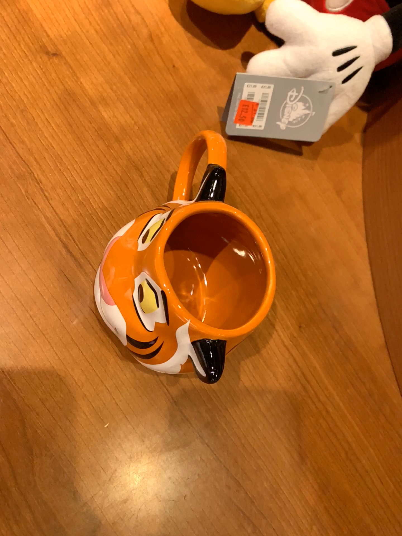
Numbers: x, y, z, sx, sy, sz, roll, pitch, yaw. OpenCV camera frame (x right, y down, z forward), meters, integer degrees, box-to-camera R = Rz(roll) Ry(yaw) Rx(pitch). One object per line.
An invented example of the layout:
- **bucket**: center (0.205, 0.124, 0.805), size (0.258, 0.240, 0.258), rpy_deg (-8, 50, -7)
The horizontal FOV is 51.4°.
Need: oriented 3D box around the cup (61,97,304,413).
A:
- **cup**: center (-0.013, 0.003, 0.249), size (0.106, 0.087, 0.150), rpy_deg (9, 72, -27)
